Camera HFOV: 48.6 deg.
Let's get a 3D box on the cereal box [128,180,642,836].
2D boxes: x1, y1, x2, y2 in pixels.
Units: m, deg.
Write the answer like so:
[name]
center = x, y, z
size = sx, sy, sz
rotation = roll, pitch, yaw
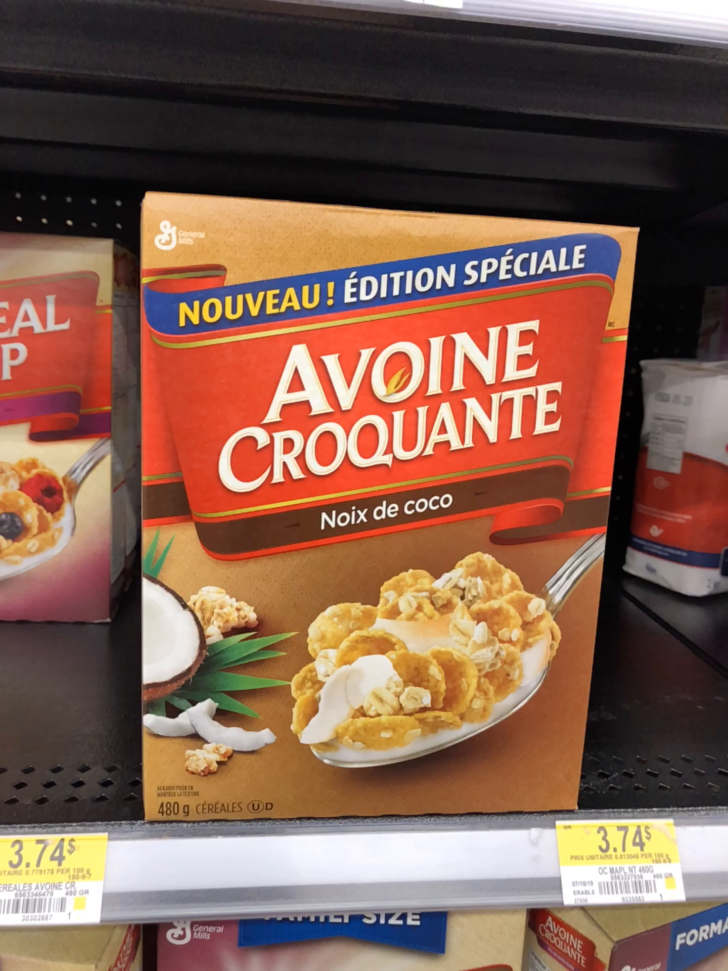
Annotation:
[cereal box]
center = 0.002, 0.017, 0.360
size = 0.200, 0.269, 0.050
rotation = 2, 11, -7
